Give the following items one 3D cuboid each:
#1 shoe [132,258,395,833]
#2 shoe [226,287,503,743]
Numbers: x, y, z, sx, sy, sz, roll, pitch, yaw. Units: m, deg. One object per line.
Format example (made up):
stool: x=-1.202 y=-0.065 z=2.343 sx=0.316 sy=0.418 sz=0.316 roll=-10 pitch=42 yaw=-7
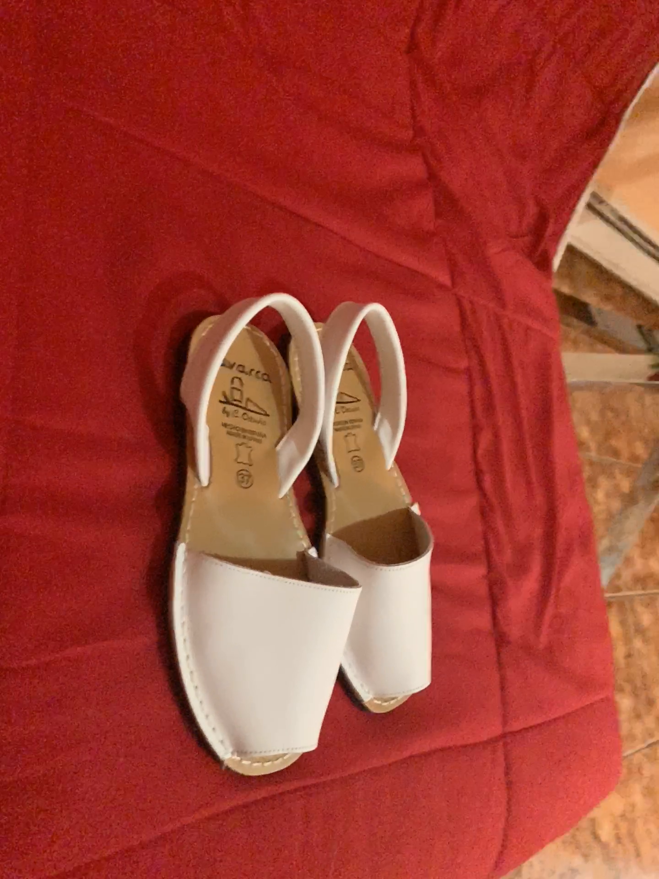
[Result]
shoe: x=-0.037 y=0.047 z=0.350 sx=0.108 sy=0.063 sz=0.247 roll=9 pitch=71 yaw=-44
shoe: x=0.023 y=0.039 z=0.418 sx=0.104 sy=0.063 sz=0.249 roll=-9 pitch=84 yaw=-47
